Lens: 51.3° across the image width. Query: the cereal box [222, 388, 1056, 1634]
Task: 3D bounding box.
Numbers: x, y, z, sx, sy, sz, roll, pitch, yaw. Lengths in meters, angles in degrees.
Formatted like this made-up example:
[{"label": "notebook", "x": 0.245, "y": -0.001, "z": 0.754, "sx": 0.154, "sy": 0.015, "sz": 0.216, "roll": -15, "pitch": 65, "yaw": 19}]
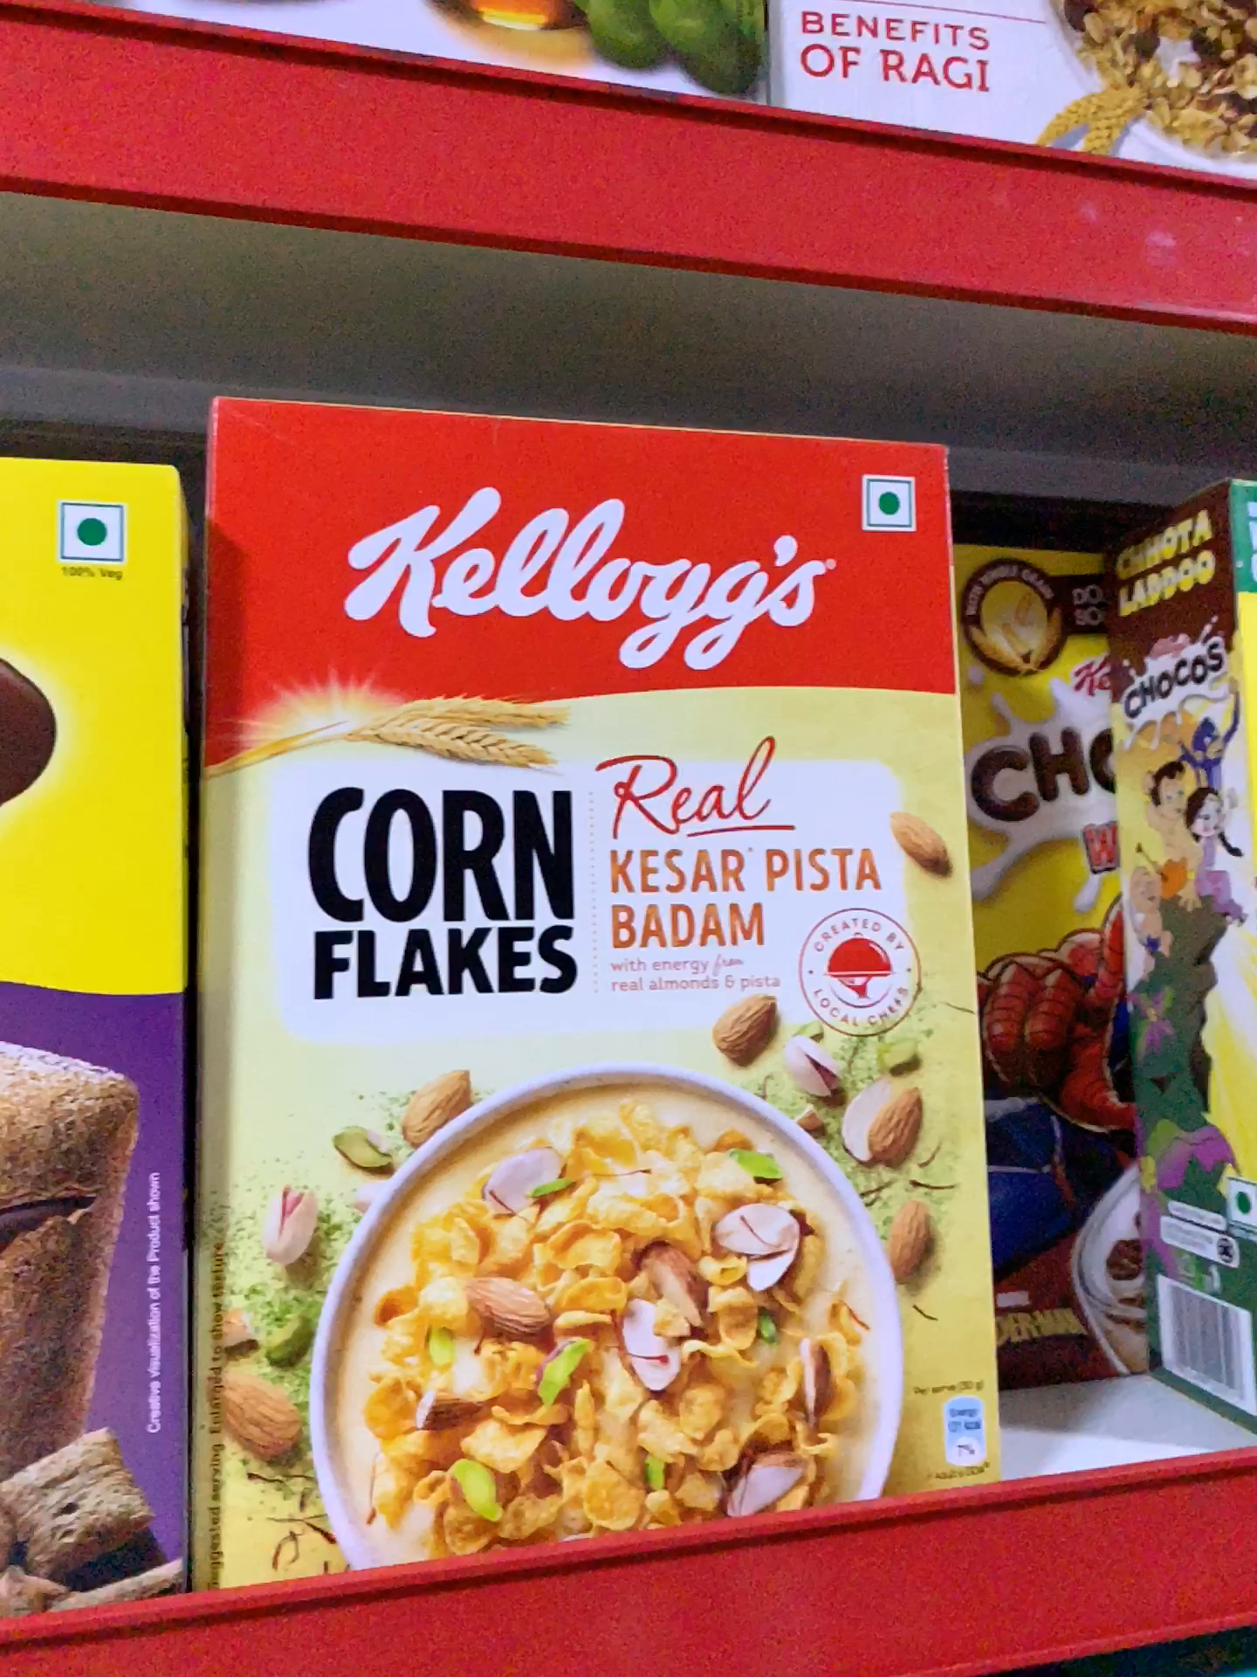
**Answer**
[{"label": "cereal box", "x": -0.002, "y": 0.032, "z": 0.320, "sx": 0.180, "sy": 0.251, "sz": 0.070, "roll": 0, "pitch": -6, "yaw": -13}]
